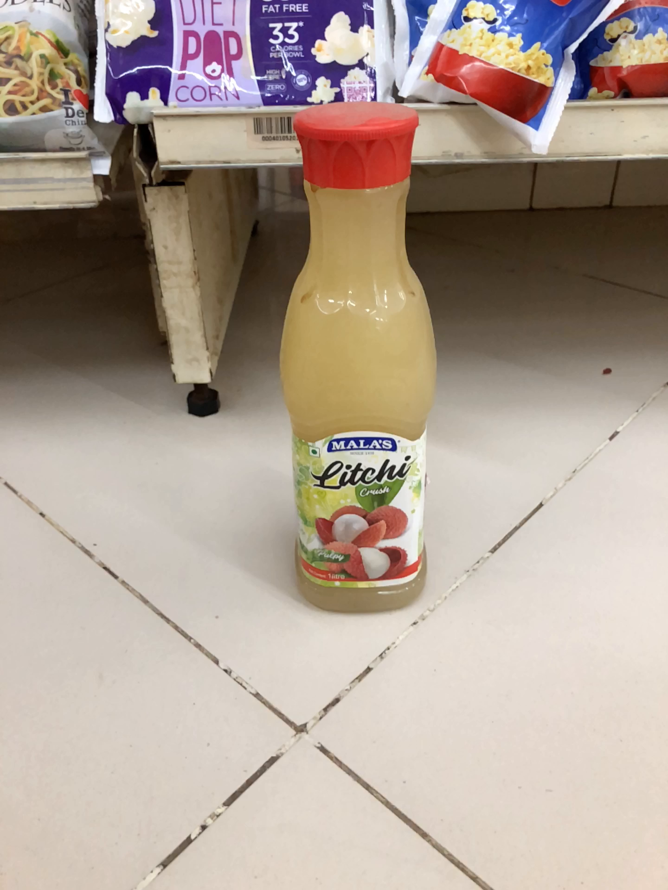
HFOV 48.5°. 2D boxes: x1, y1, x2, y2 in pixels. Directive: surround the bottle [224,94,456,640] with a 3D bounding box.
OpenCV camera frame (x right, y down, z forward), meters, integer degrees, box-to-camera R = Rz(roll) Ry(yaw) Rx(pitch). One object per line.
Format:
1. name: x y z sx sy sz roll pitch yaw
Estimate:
1. bottle: 0.007 -0.026 0.407 0.090 0.288 0.091 -1 35 1
